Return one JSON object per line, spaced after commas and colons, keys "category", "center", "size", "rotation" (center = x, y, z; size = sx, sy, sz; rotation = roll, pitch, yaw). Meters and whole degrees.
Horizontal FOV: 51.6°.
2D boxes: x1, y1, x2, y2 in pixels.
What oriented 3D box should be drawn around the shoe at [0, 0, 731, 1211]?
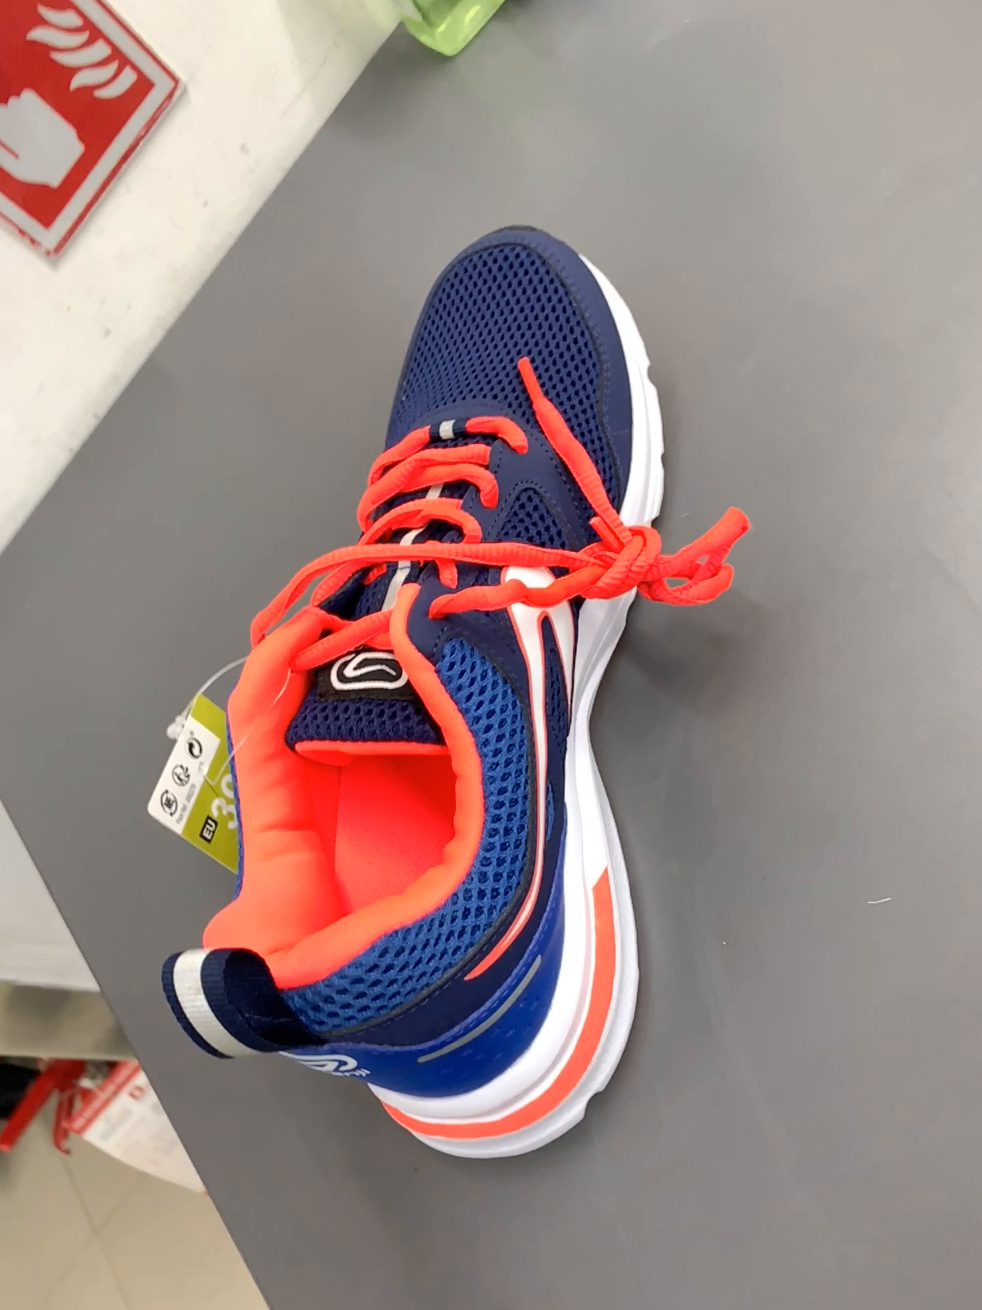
{"category": "shoe", "center": [-0.013, -0.022, 0.284], "size": [0.110, 0.140, 0.290], "rotation": [-9, 65, 29]}
